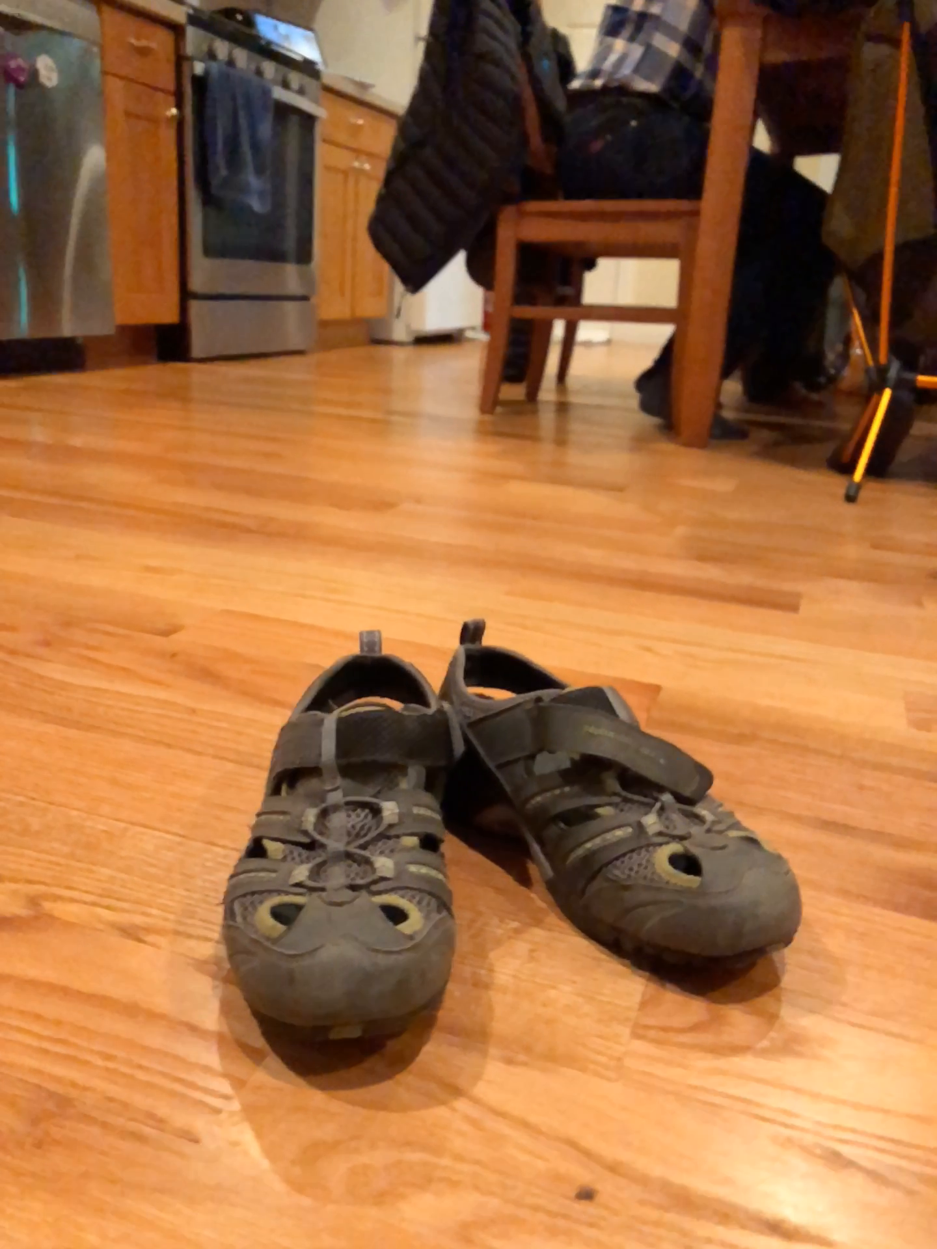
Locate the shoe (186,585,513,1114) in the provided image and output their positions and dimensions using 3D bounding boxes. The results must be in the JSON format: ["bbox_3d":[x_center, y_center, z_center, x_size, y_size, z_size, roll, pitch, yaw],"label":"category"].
[{"bbox_3d":[-0.052,0.073,0.452,0.100,0.113,0.246,1,18,-7],"label":"shoe"}]

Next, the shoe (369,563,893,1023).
[{"bbox_3d":[0.059,0.059,0.507,0.100,0.113,0.246,-9,22,-35],"label":"shoe"}]
